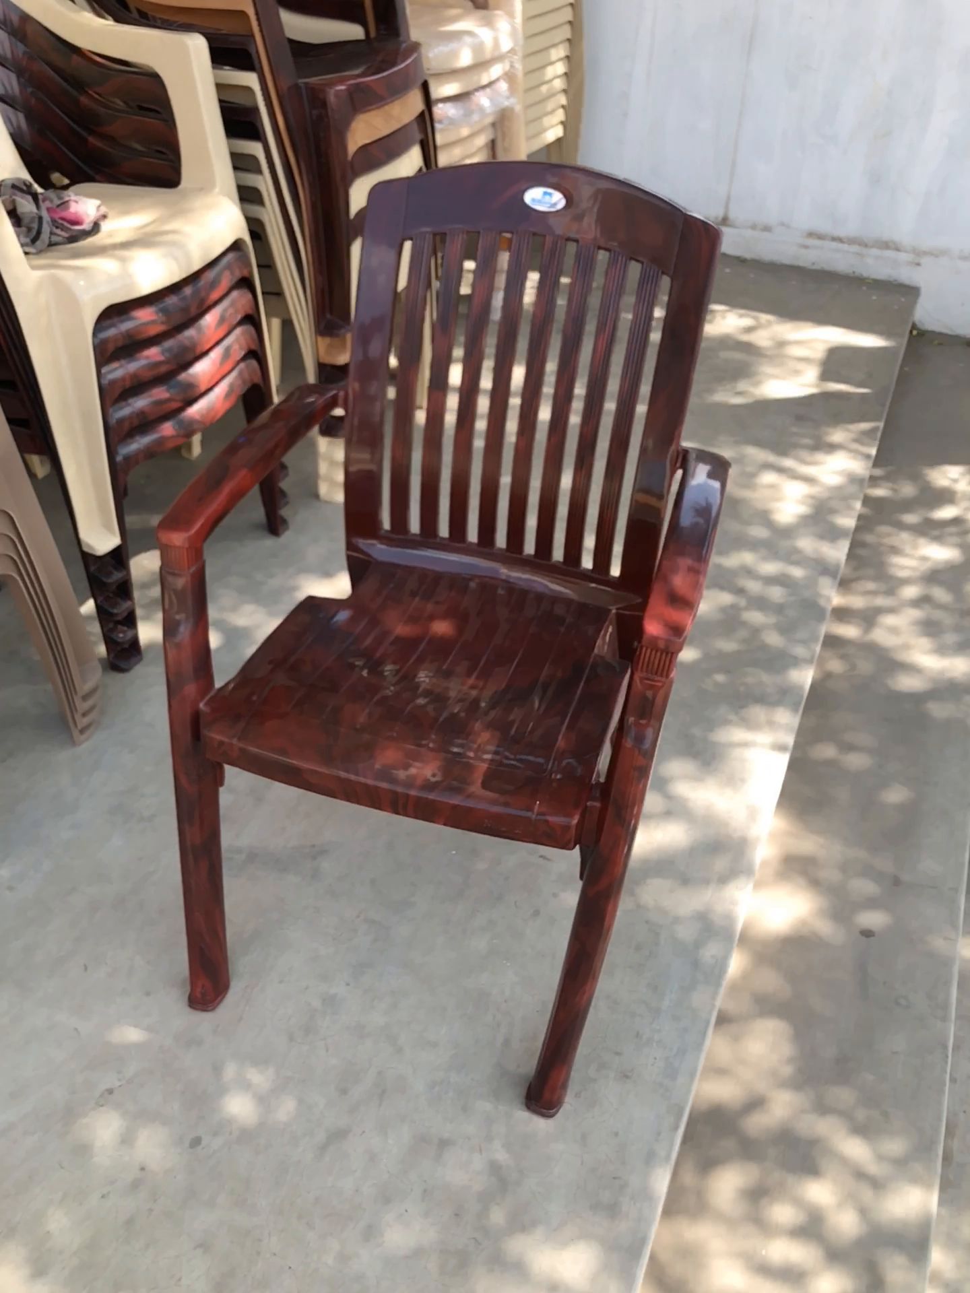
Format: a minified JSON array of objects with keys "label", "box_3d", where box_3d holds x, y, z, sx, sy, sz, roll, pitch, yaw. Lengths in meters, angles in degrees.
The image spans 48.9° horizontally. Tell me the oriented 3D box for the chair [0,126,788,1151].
[{"label":"chair","box_3d":[-0.062,-0.035,1.245,0.610,0.855,0.694,11,40,12]}]
